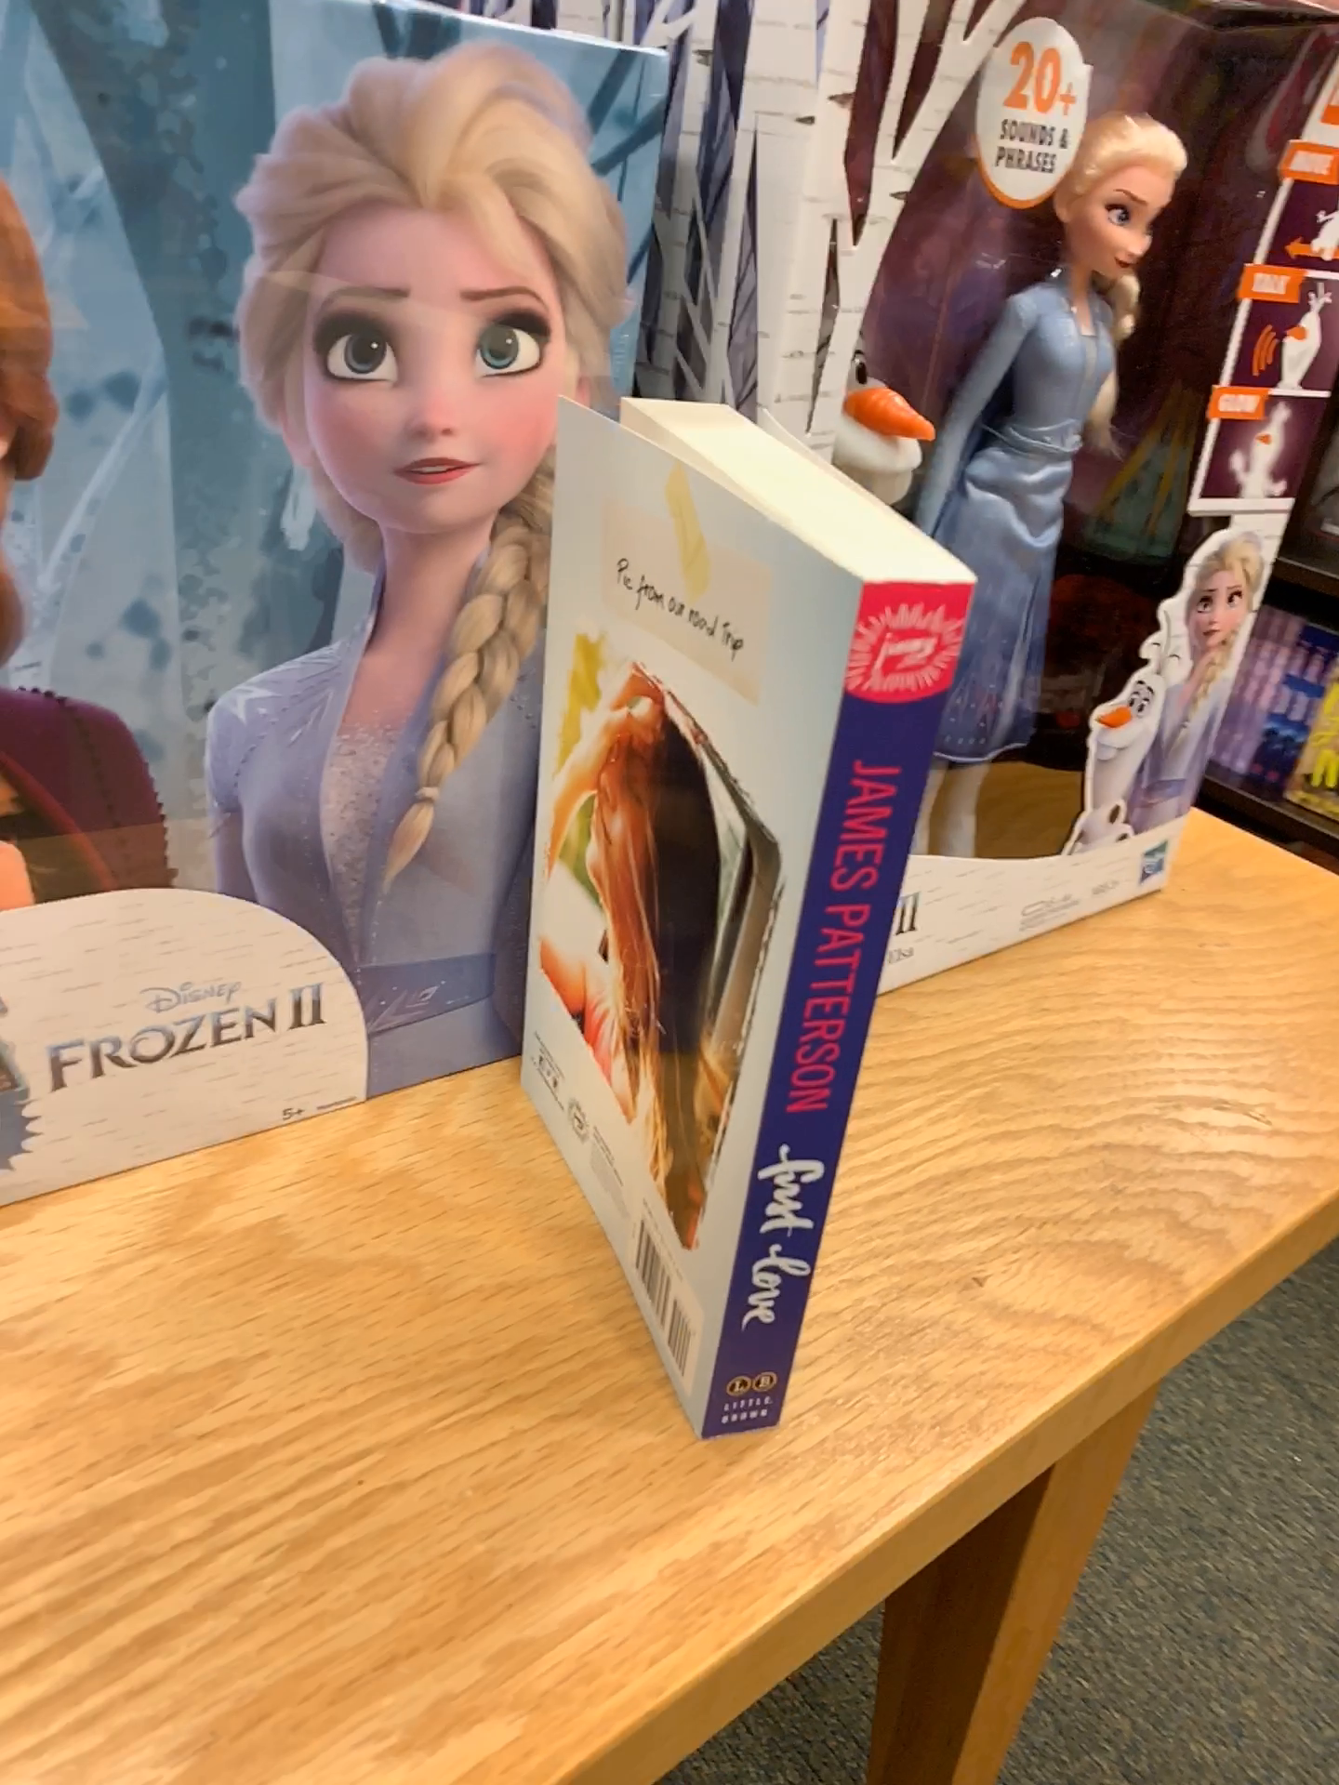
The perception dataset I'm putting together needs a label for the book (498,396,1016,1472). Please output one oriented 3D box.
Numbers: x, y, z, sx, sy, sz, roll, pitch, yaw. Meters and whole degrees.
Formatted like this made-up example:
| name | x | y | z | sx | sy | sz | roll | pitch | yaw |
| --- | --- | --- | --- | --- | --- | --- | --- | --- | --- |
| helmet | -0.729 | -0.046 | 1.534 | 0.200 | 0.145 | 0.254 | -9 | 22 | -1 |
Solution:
| name | x | y | z | sx | sy | sz | roll | pitch | yaw |
| --- | --- | --- | --- | --- | --- | --- | --- | --- | --- |
| book | 0.002 | 0.004 | 0.327 | 0.059 | 0.205 | 0.143 | -4 | 31 | -16 |
